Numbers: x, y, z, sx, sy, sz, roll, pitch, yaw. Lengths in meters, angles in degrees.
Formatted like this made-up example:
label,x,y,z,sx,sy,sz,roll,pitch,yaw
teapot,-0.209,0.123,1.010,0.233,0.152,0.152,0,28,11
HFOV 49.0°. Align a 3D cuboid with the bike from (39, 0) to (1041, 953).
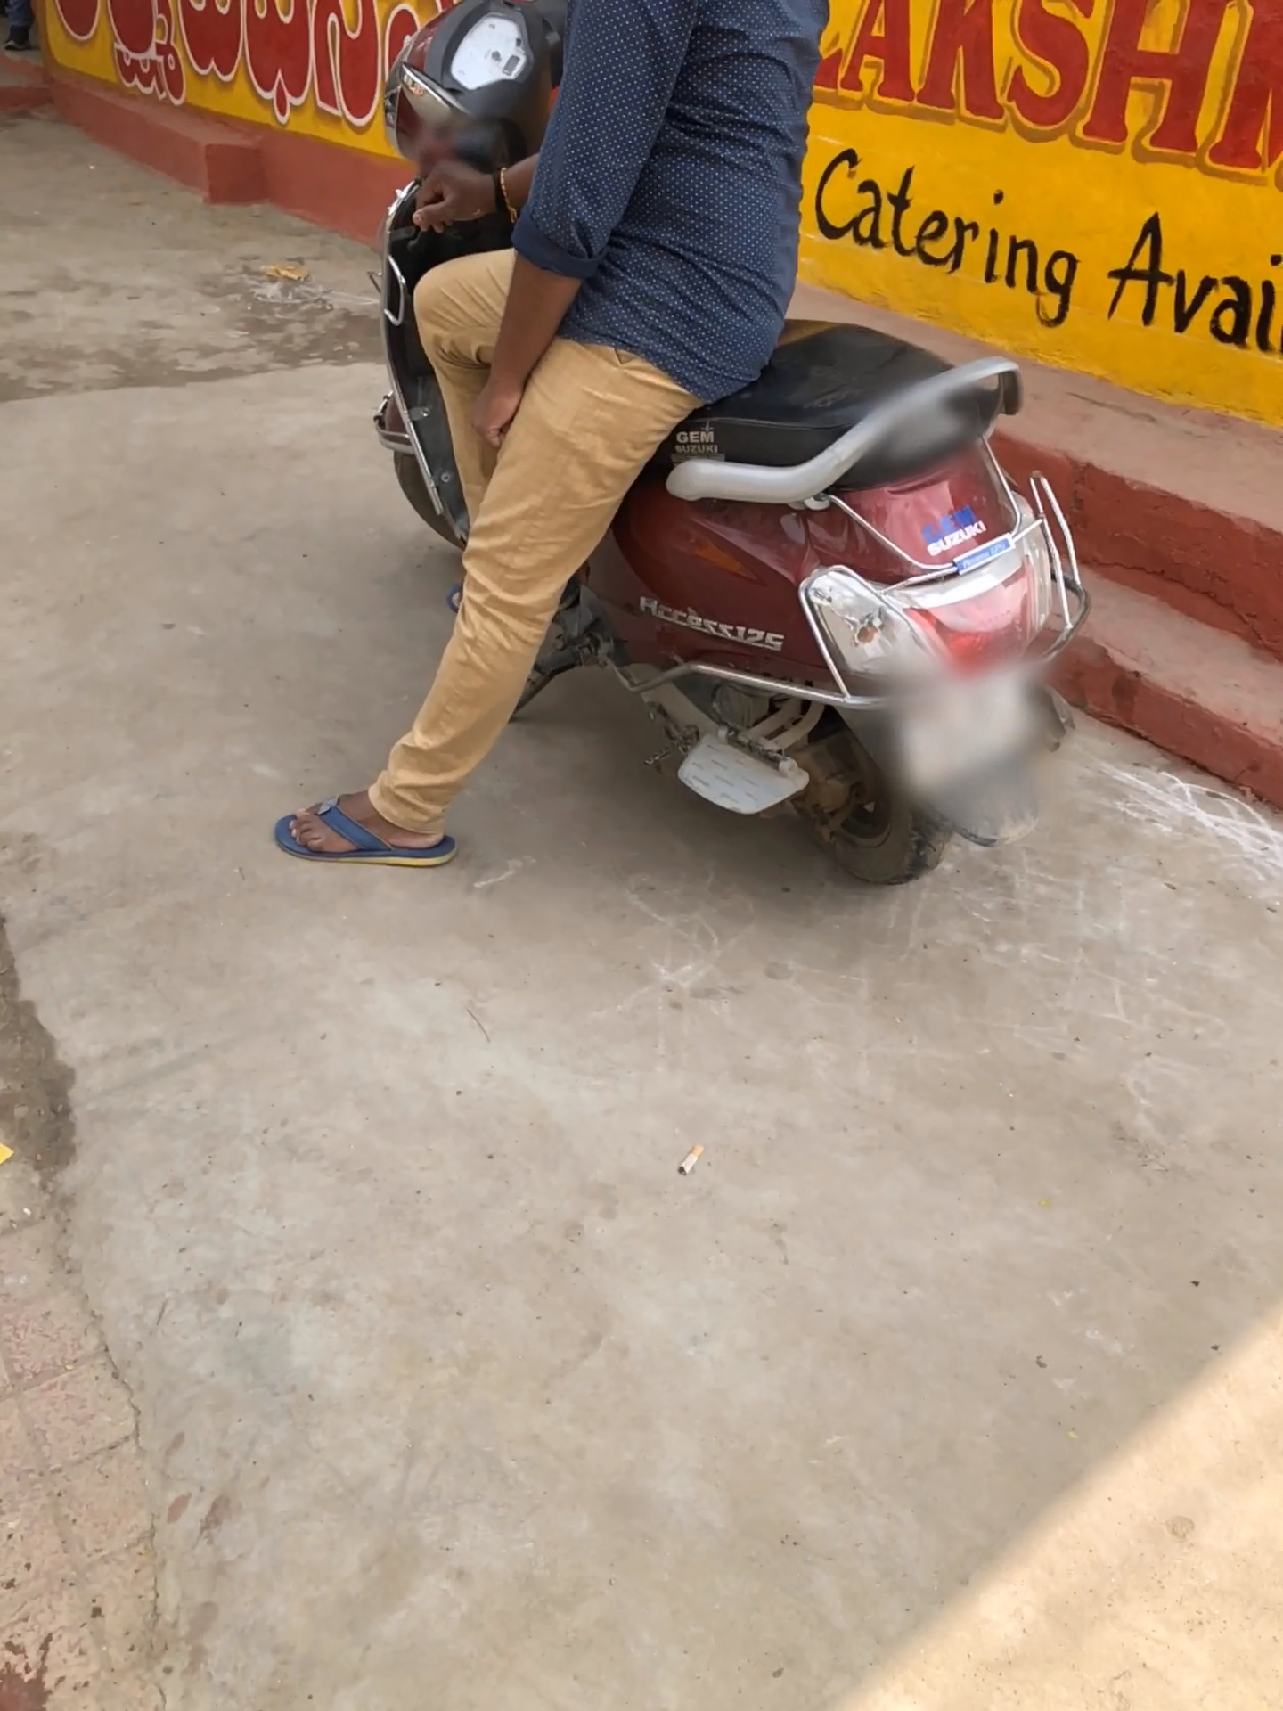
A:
label,x,y,z,sx,sy,sz,roll,pitch,yaw
bike,-0.277,-0.731,2.200,0.631,1.087,1.379,-19,41,-34
